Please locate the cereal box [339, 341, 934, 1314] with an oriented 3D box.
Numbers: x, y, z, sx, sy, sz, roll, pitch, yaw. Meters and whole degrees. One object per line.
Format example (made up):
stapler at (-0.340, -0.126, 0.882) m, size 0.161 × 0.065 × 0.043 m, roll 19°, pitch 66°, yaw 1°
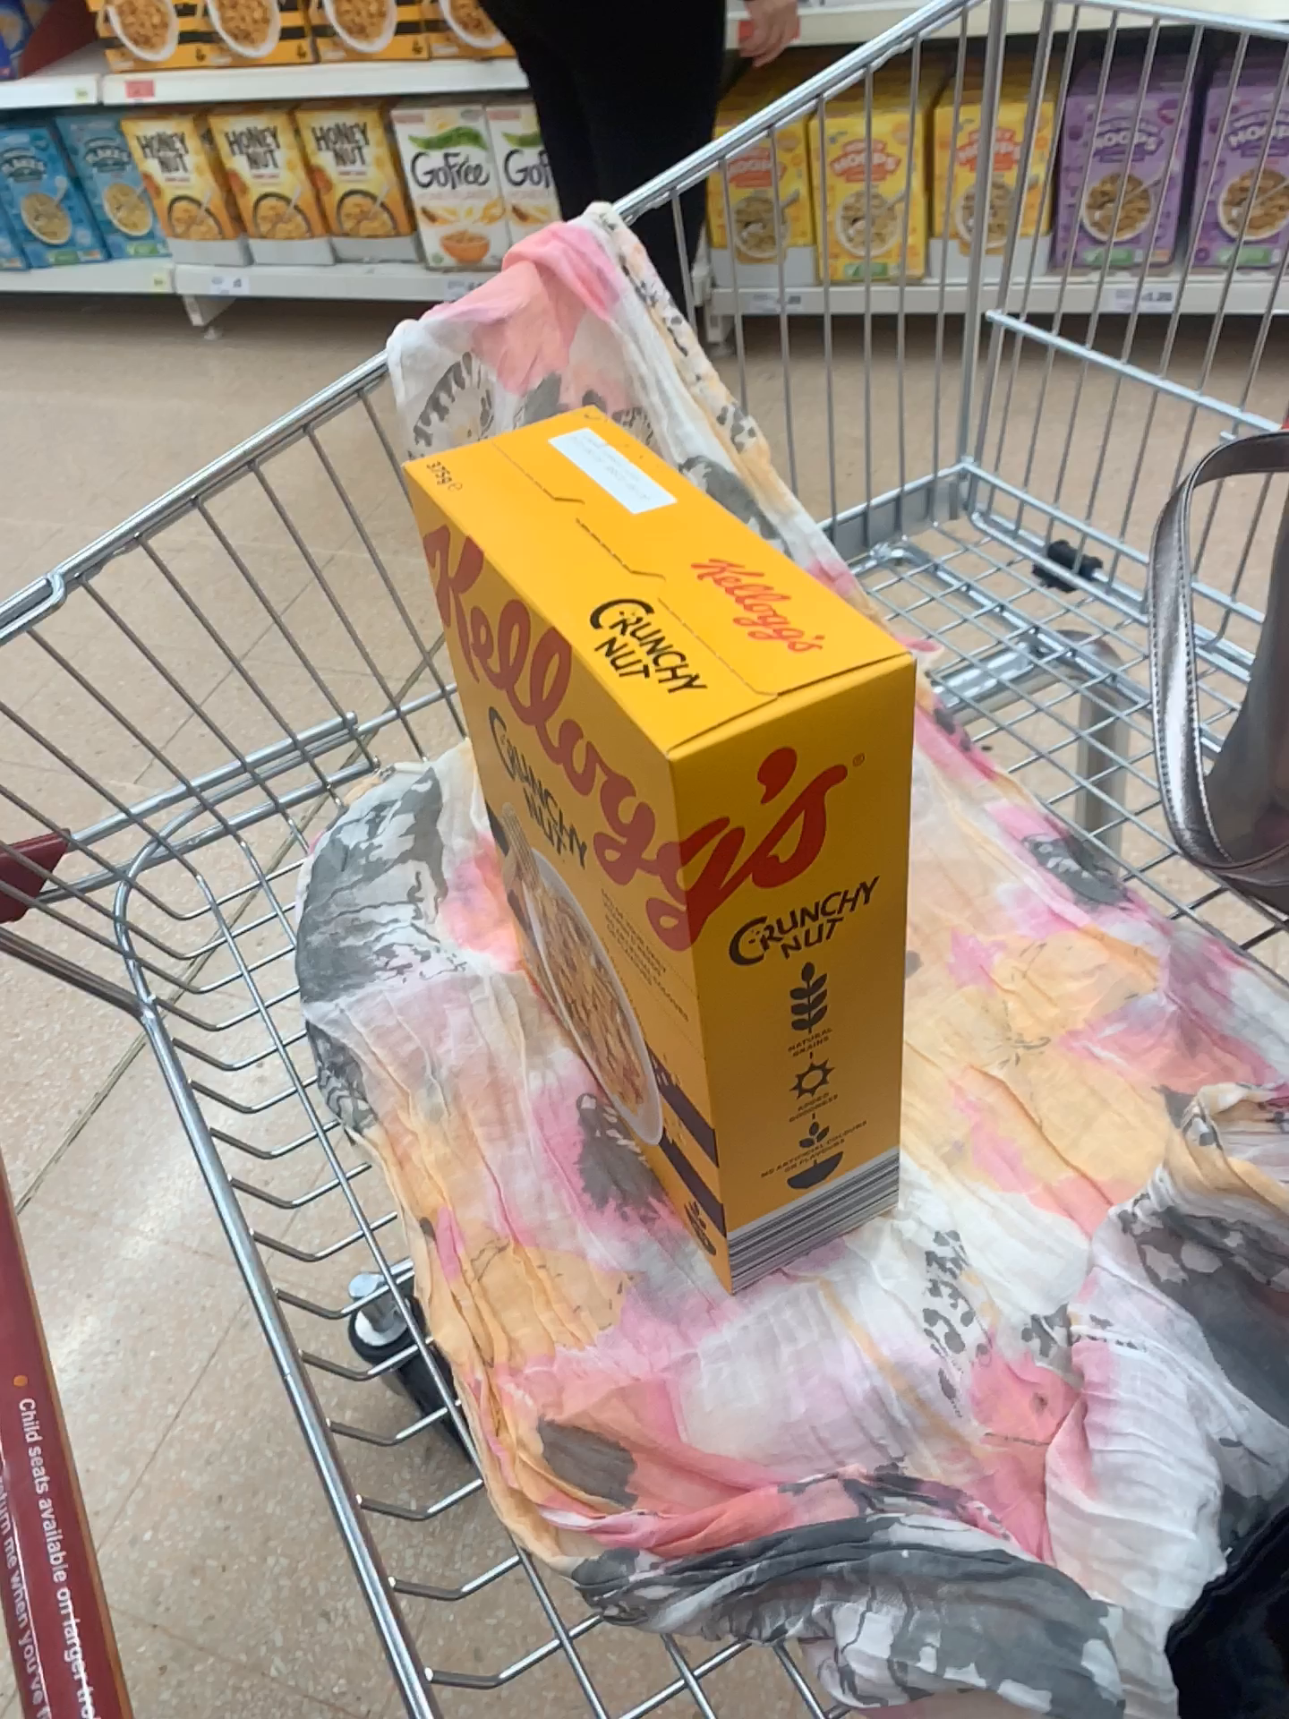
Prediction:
cereal box at (-0.001, -0.010, 0.459) m, size 0.080 × 0.258 × 0.212 m, roll -24°, pitch 44°, yaw -16°
